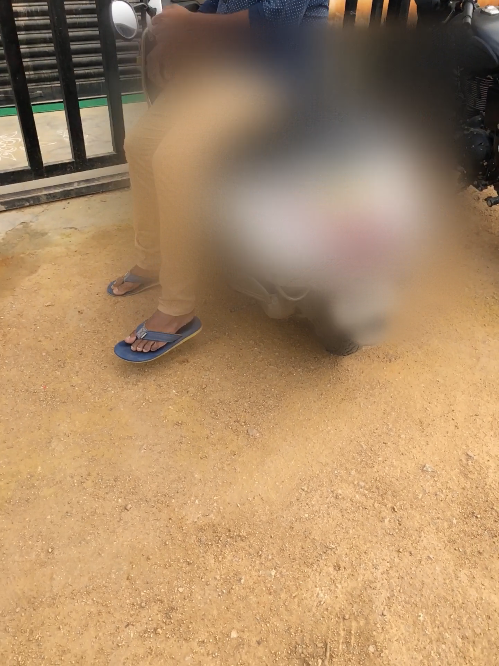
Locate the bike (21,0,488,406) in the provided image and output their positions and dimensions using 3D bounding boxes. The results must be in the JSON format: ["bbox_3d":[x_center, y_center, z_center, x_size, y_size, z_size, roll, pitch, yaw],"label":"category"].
[{"bbox_3d":[-0.185,-0.751,1.968,0.652,1.069,1.649,-17,41,-24],"label":"bike"}]
